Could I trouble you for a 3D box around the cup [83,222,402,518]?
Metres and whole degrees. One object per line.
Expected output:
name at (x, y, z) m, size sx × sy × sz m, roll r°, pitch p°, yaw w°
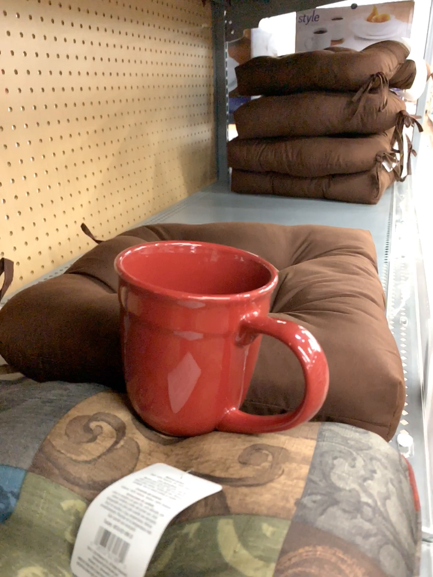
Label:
cup at (0.006, 0.027, 0.264) m, size 0.150 × 0.090 × 0.100 m, roll 24°, pitch 28°, yaw 38°
